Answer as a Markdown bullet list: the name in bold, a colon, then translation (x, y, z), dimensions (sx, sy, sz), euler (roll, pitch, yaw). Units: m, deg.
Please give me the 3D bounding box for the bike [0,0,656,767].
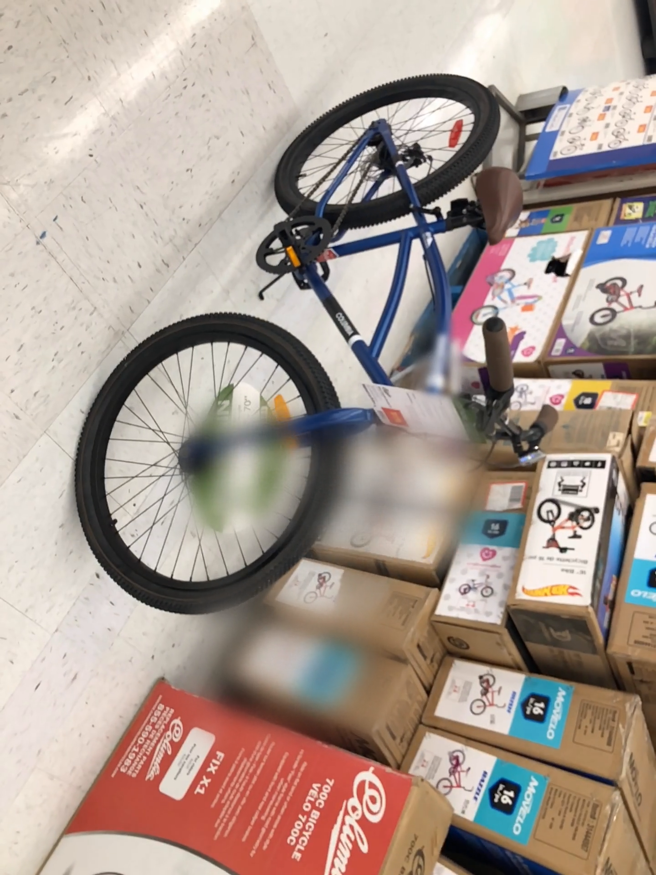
- **bike**: translation (0.149, -0.300, 1.616), dimensions (0.651, 0.928, 1.555), euler (50, 54, -44)
